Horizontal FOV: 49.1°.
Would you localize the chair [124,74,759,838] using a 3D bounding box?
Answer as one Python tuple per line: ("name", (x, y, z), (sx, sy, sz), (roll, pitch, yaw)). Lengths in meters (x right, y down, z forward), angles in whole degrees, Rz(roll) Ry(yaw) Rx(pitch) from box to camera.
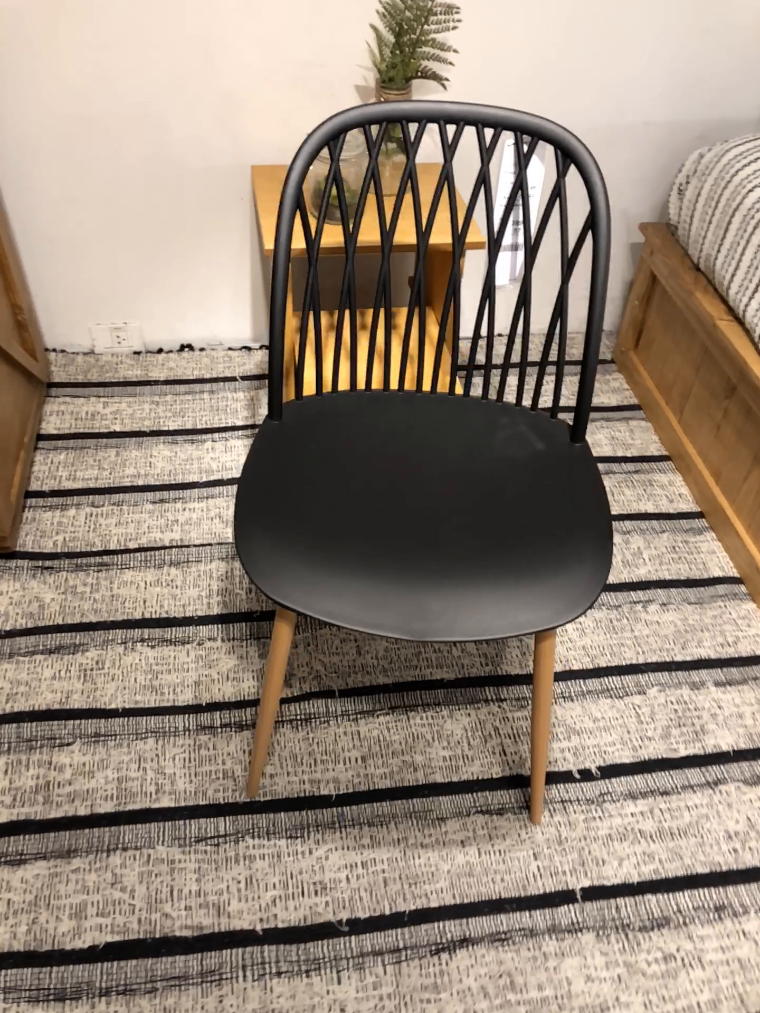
("chair", (0.049, -0.033, 1.066), (0.470, 0.774, 0.544), (4, 44, 1))
